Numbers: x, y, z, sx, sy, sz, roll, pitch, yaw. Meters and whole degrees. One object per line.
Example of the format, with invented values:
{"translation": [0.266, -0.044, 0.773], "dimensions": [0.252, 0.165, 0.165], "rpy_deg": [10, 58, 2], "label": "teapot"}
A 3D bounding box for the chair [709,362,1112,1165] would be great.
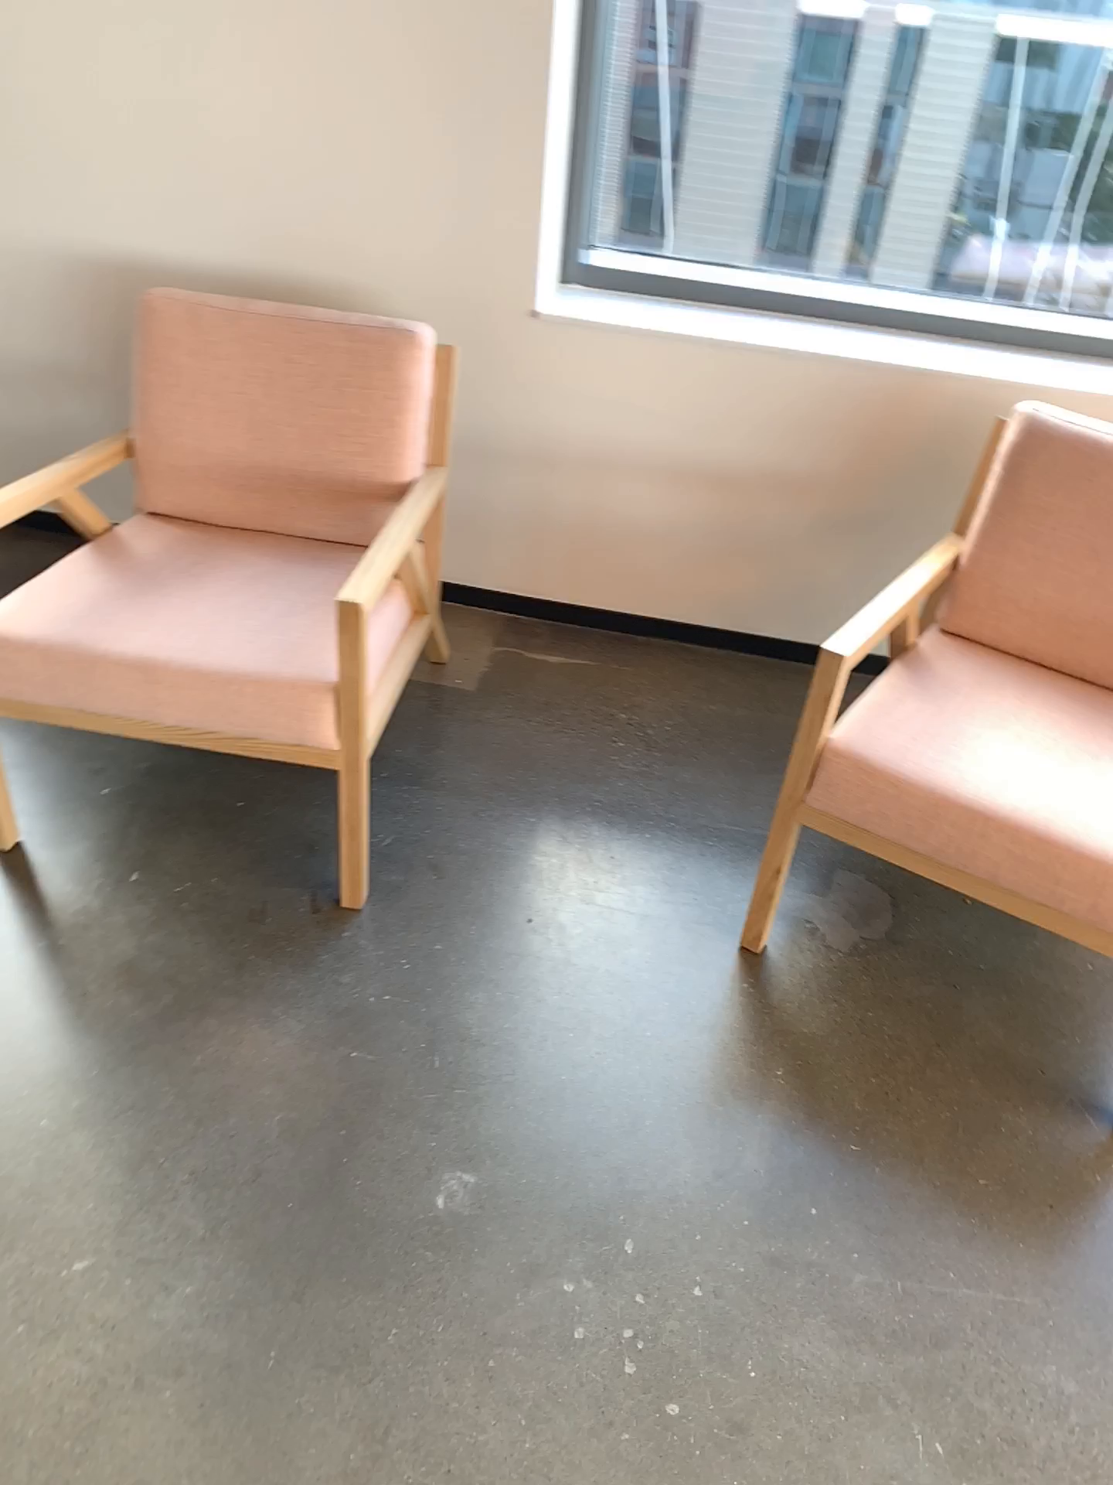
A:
{"translation": [0.807, -0.028, 1.822], "dimensions": [0.741, 0.795, 0.773], "rpy_deg": [24, 40, 22], "label": "chair"}

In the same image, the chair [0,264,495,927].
{"translation": [-0.575, -0.292, 2.038], "dimensions": [0.740, 0.795, 0.774], "rpy_deg": [10, 39, 6], "label": "chair"}
